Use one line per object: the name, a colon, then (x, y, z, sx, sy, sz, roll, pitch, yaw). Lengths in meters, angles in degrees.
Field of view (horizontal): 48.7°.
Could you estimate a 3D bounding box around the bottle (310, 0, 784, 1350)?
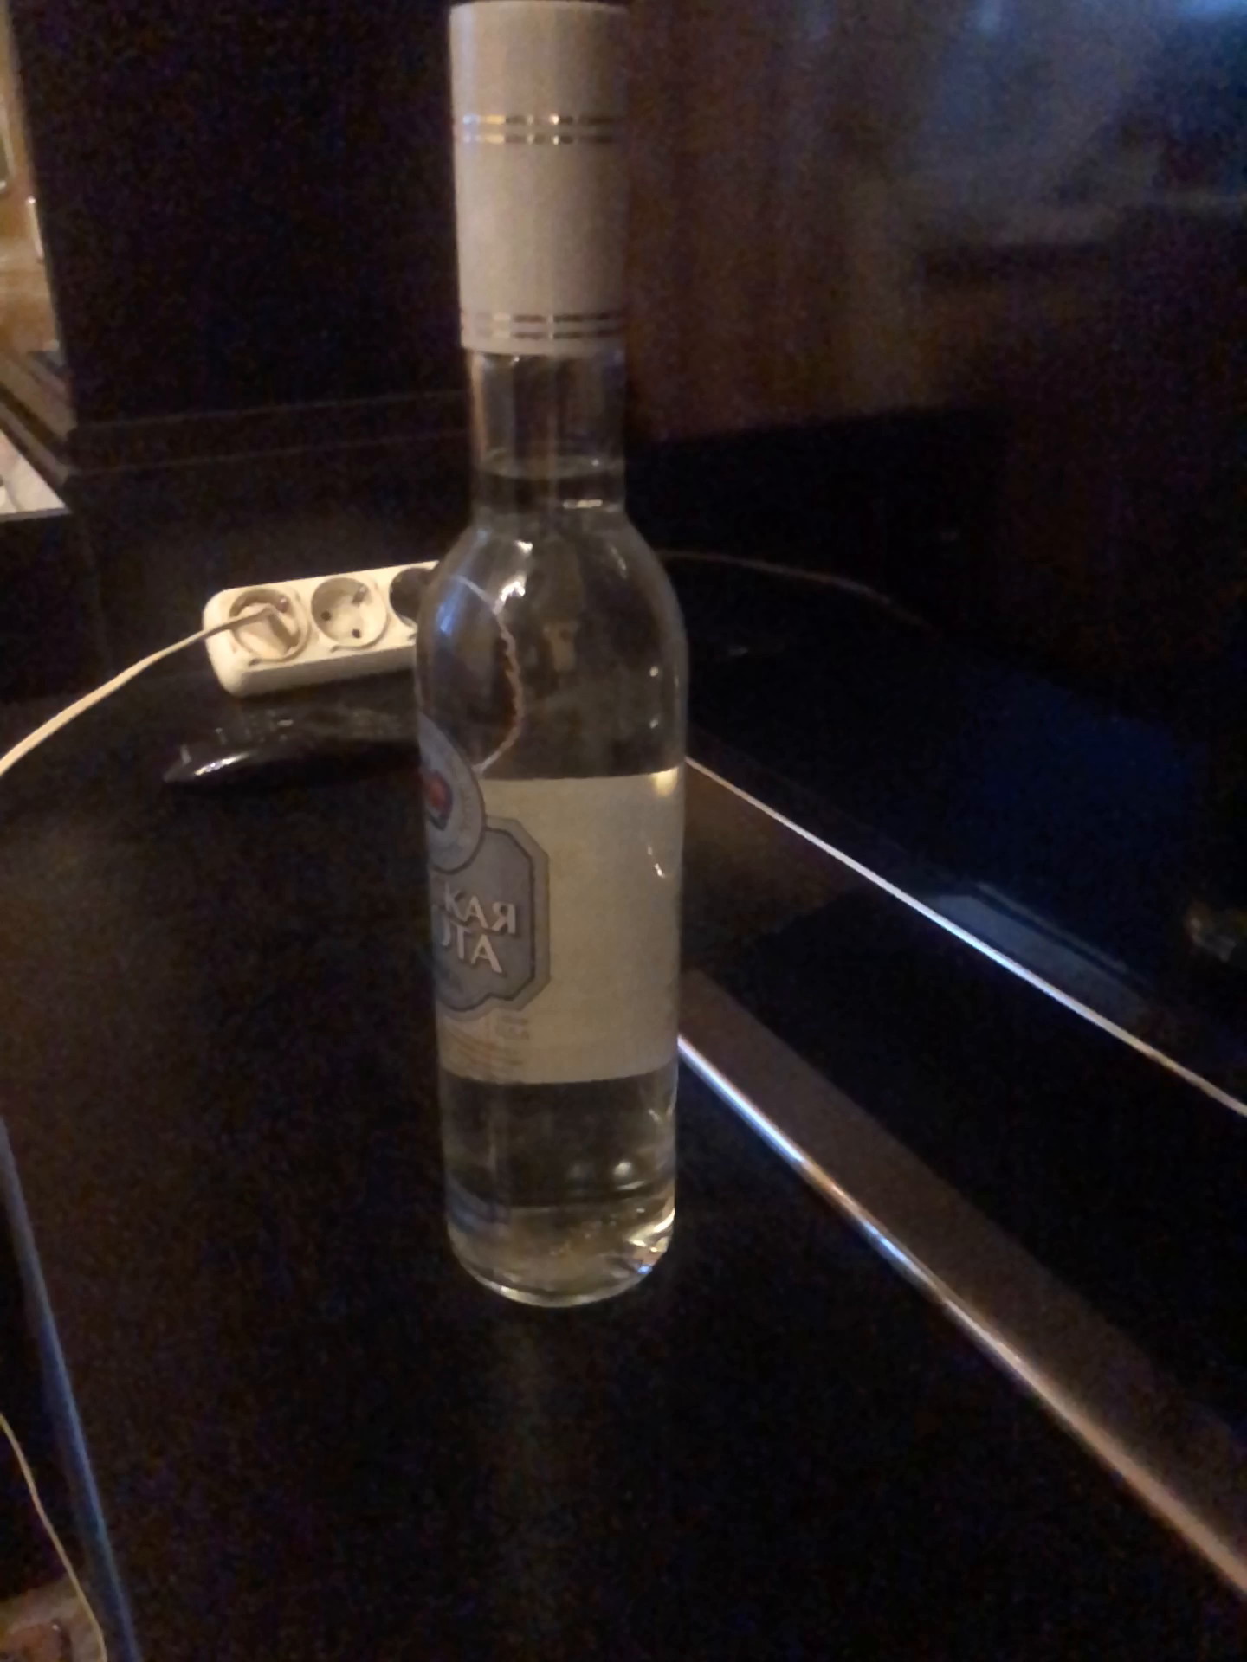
bottle: (-0.016, -0.023, 0.315, 0.067, 0.290, 0.065, 0, 25, 0)
